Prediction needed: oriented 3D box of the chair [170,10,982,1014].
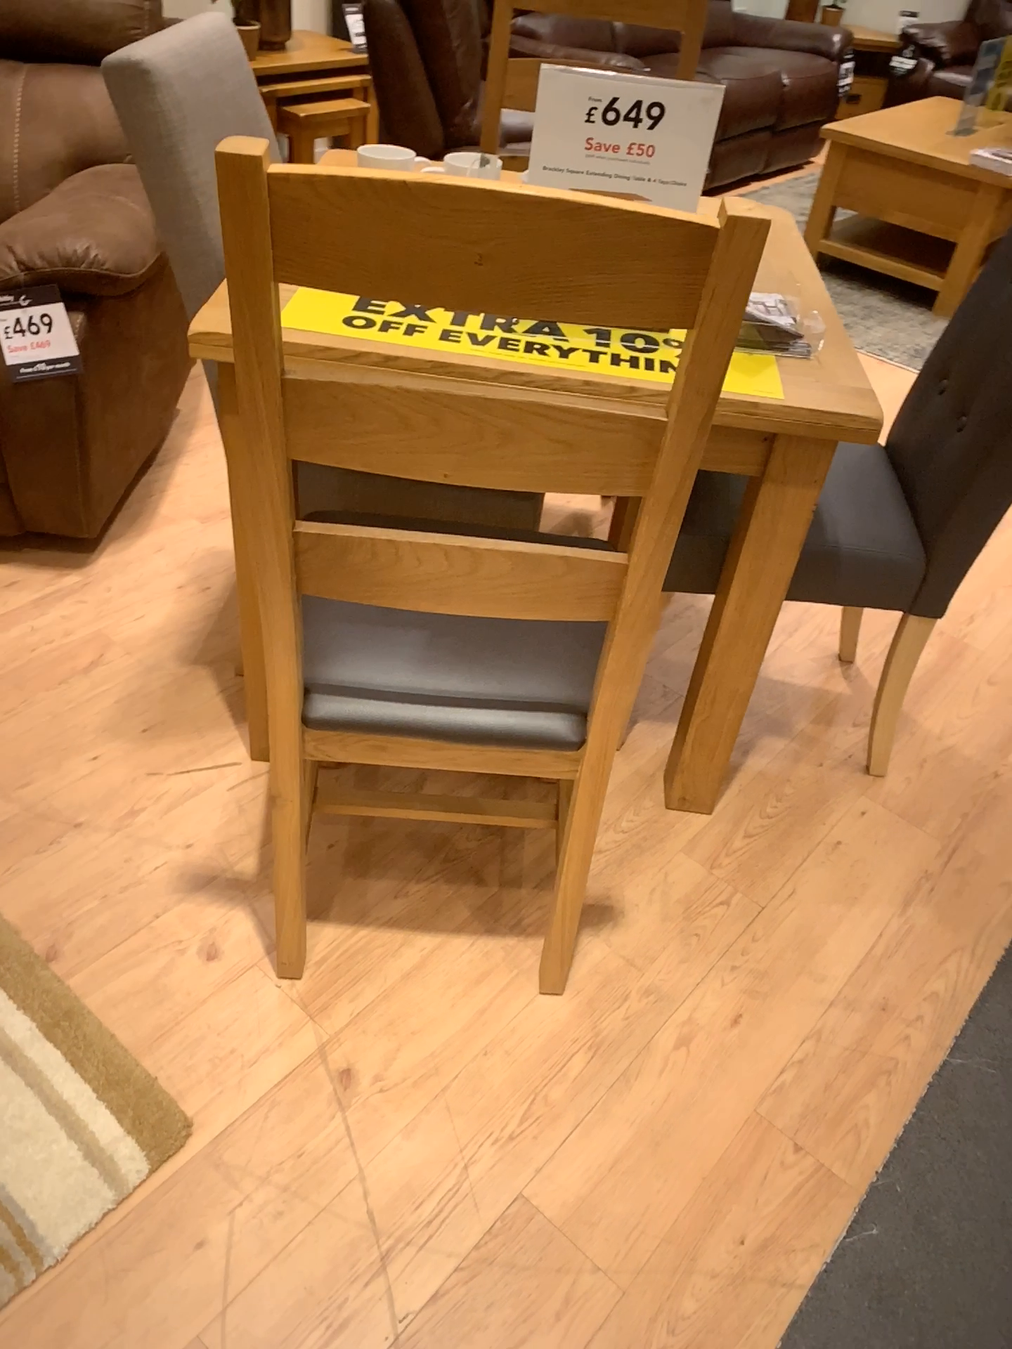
[{"bbox_3d":[-0.011,-0.142,1.215,0.554,0.958,0.582,5,39,-6],"label":"chair"}]
